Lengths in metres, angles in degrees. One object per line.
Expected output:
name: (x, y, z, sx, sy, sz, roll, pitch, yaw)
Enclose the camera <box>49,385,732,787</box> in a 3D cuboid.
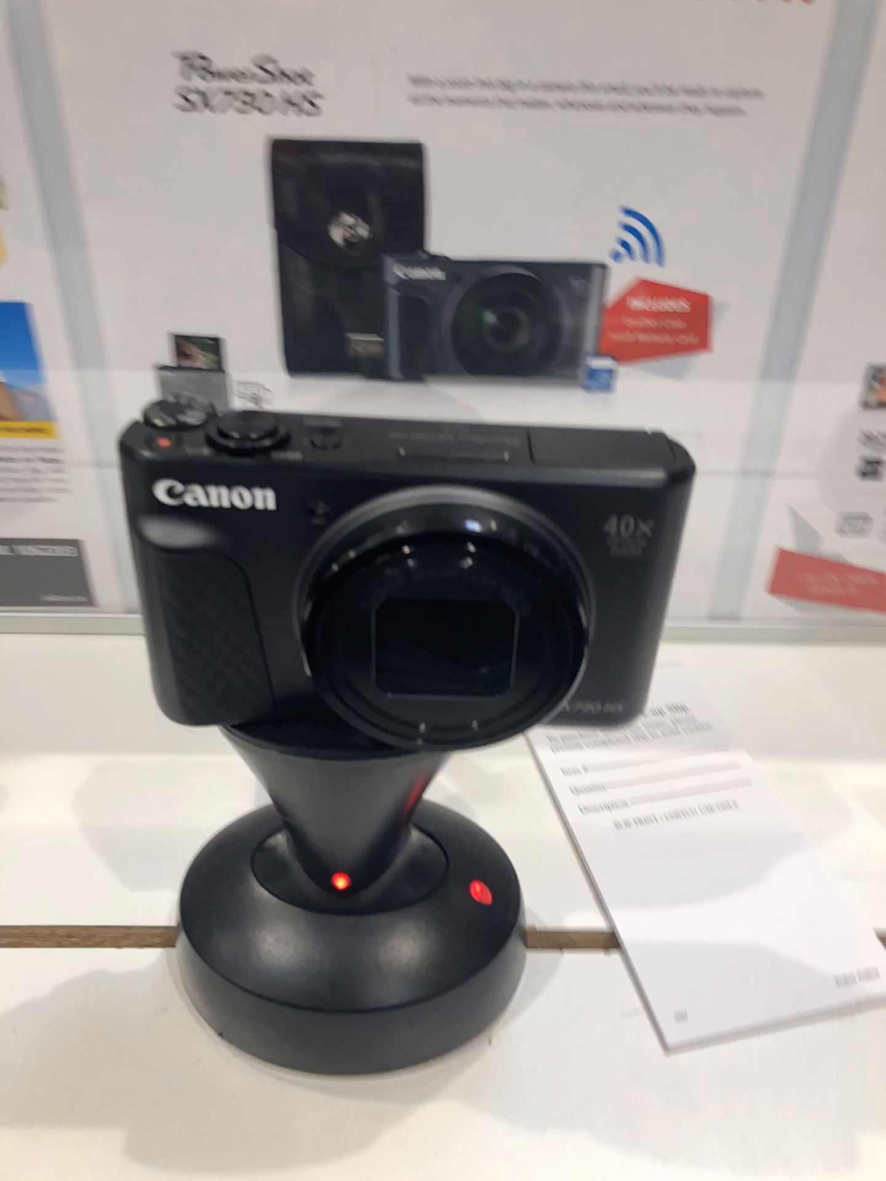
camera: (-0.010, 0.000, 0.208, 0.120, 0.070, 0.040, 2, 34, -1)
